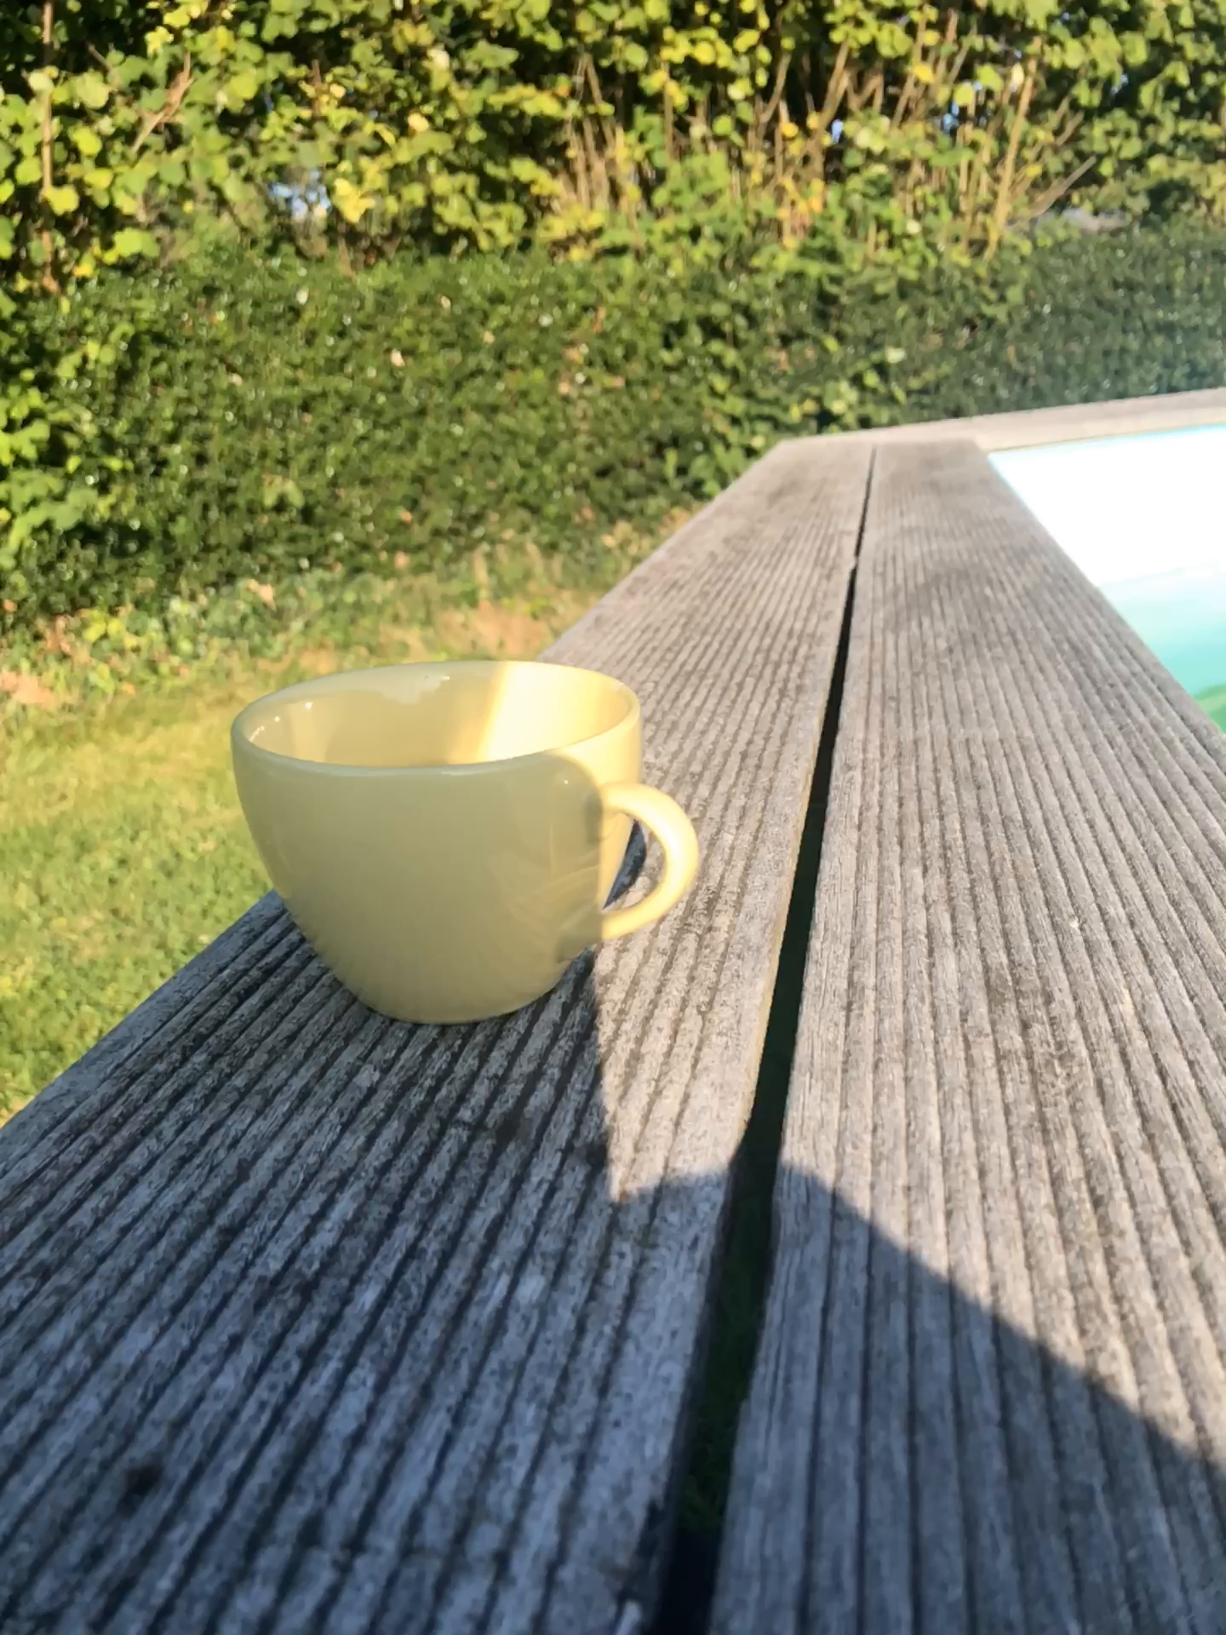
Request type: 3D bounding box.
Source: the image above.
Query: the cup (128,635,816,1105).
[{"bbox_3d":[-0.029,0.001,0.287,0.112,0.053,0.089,13,25,39],"label":"cup"}]
